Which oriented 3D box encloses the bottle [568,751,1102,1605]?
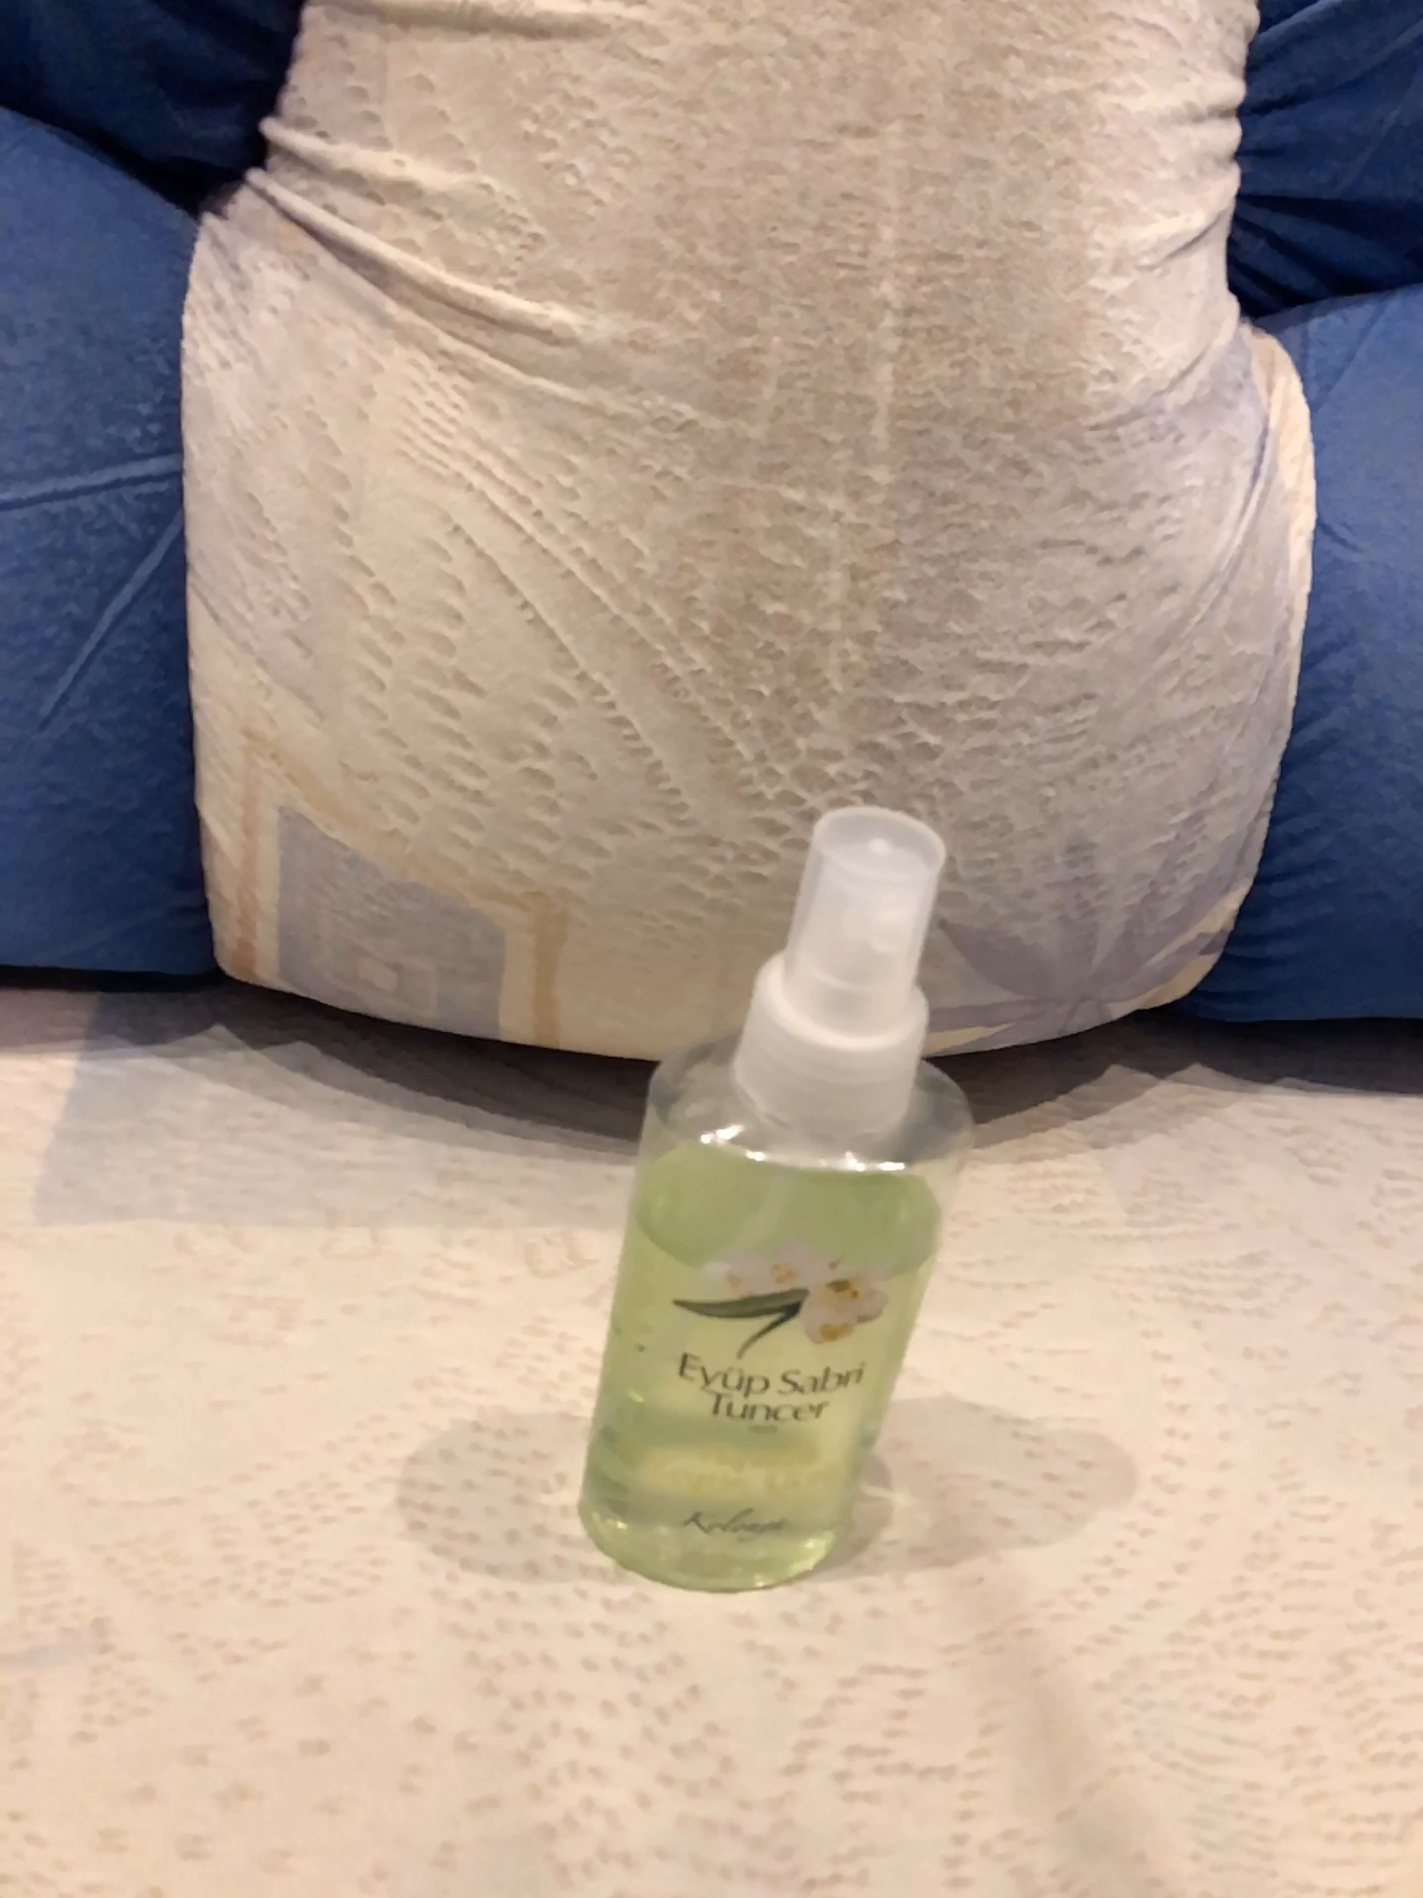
[{"bbox_3d":[0.011,0.045,0.254,0.058,0.149,0.037,2,34,-9],"label":"bottle"}]
